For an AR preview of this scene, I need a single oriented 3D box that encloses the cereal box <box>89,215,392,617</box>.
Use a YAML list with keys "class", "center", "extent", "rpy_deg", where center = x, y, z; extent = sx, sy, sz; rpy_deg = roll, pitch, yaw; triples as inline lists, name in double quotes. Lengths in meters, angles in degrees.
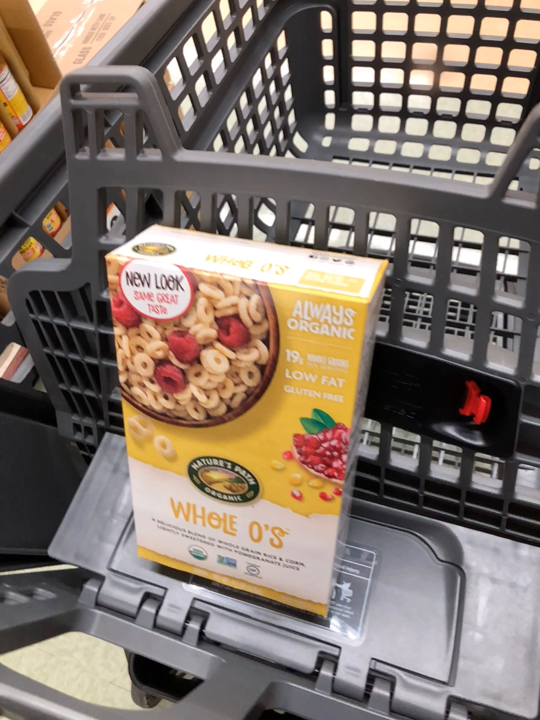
- class: "cereal box"
  center: [-0.020, 0.044, 0.404]
  extent: [0.160, 0.250, 0.060]
  rpy_deg: [12, 33, 16]
